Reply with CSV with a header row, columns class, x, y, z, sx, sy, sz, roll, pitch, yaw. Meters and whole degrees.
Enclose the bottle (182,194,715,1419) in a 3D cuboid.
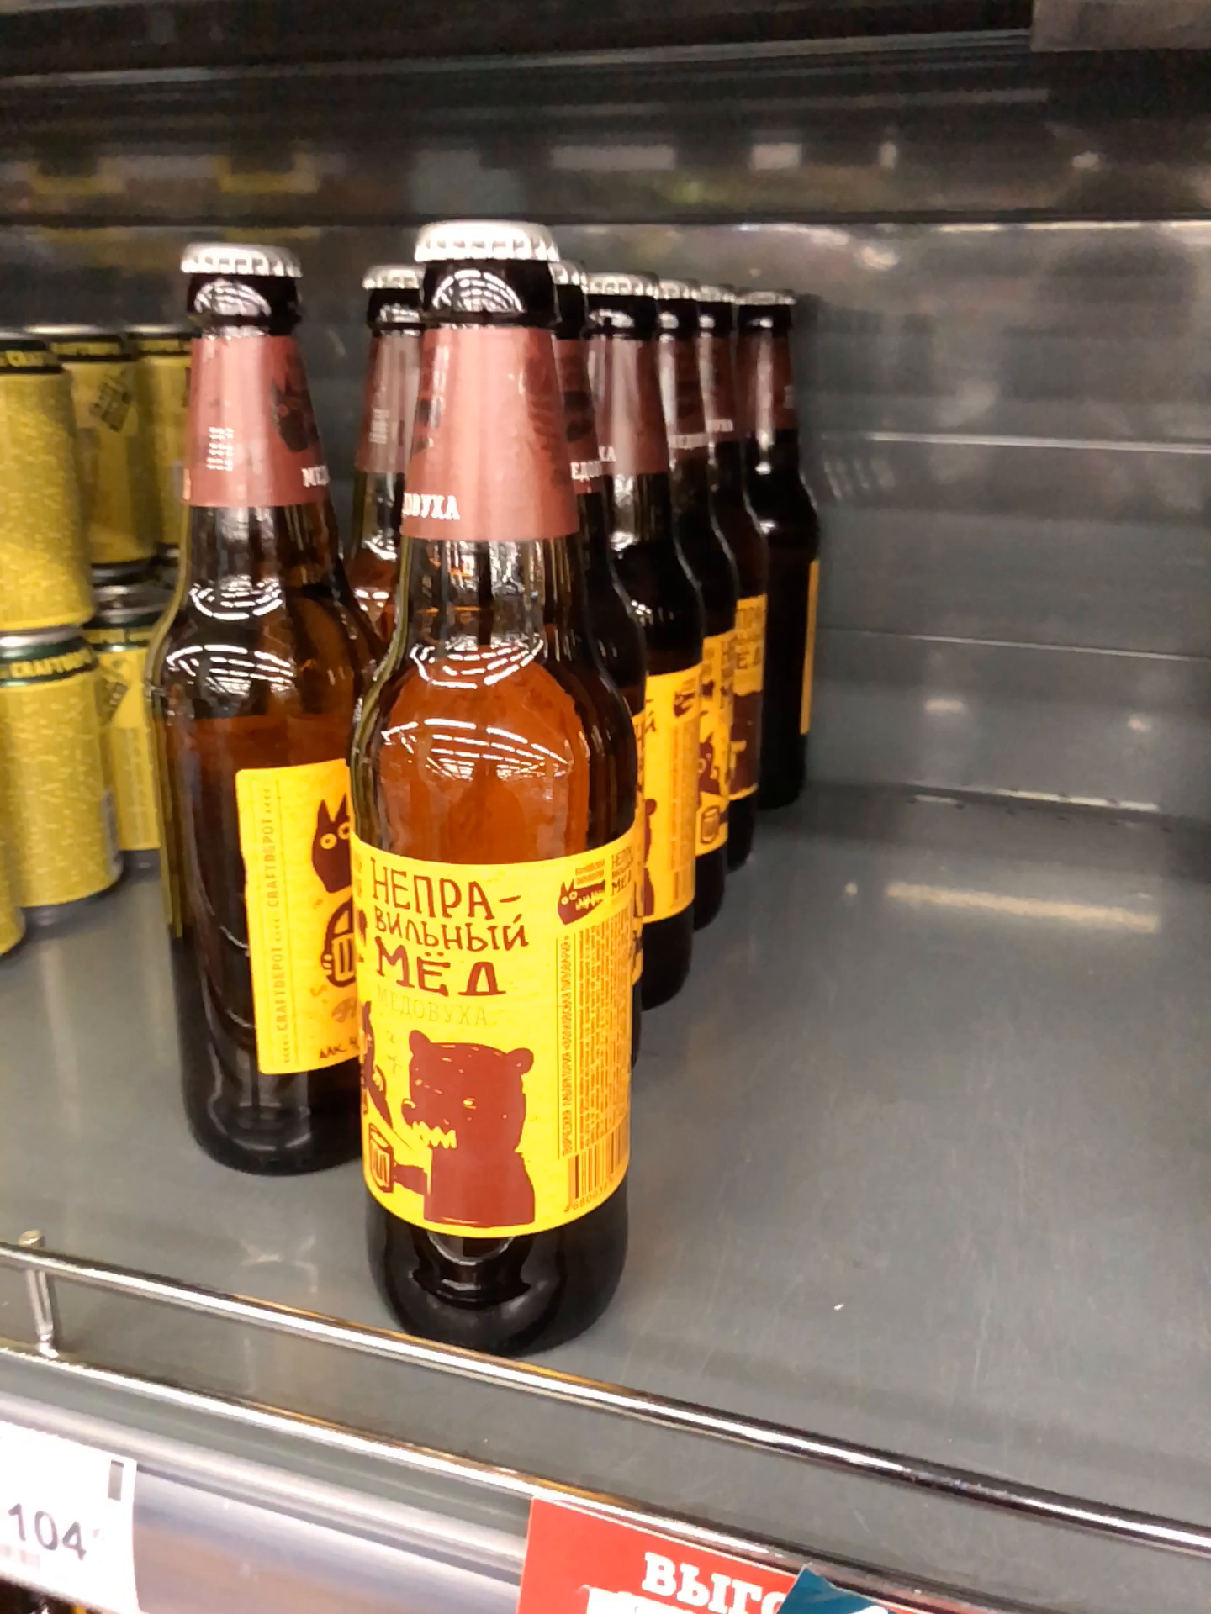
class,x,y,z,sx,sy,sz,roll,pitch,yaw
bottle,-0.028,0.002,0.293,0.080,0.243,0.070,6,20,14
